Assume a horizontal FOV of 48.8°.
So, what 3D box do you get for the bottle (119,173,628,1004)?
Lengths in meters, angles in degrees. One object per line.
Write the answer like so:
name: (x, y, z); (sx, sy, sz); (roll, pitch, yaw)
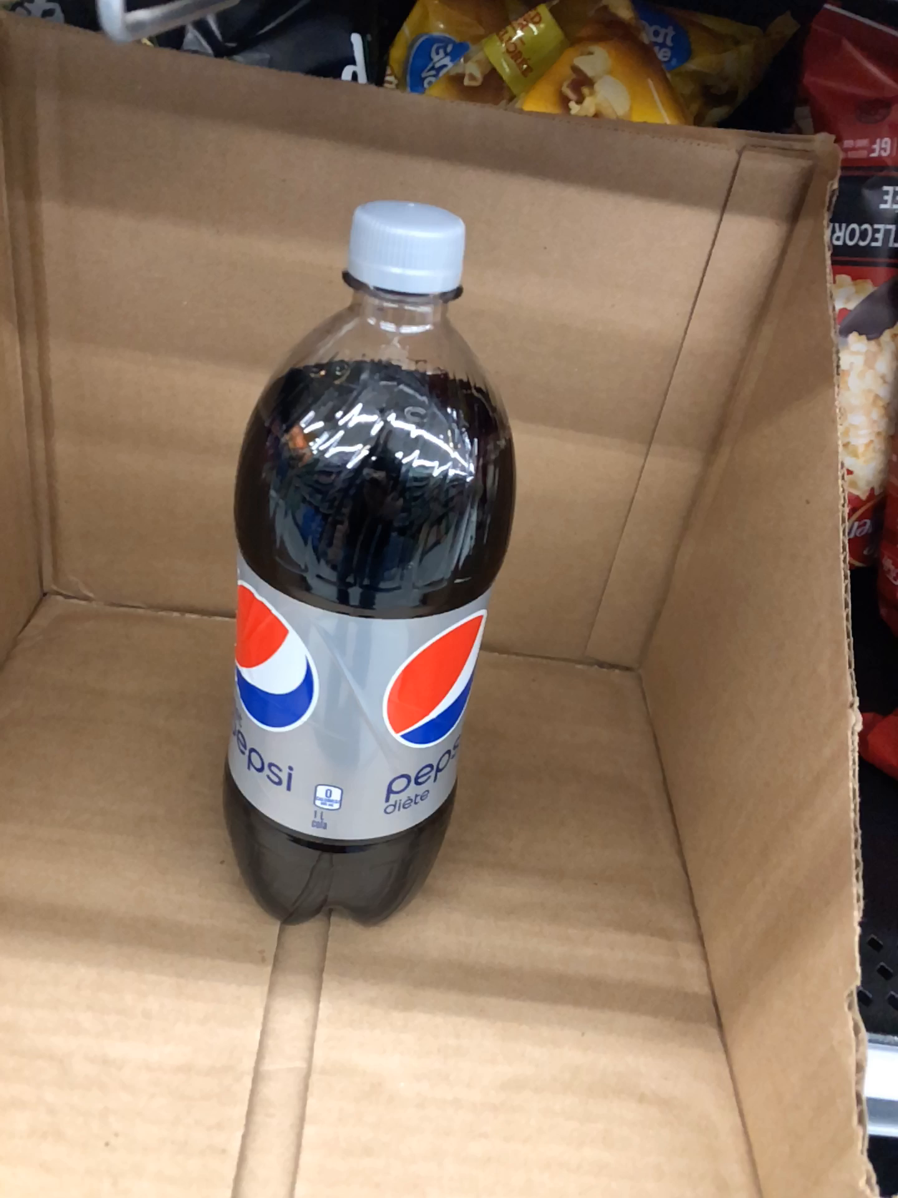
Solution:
bottle: (-0.033, 0.005, 0.299); (0.090, 0.228, 0.080); (-19, 45, -33)
